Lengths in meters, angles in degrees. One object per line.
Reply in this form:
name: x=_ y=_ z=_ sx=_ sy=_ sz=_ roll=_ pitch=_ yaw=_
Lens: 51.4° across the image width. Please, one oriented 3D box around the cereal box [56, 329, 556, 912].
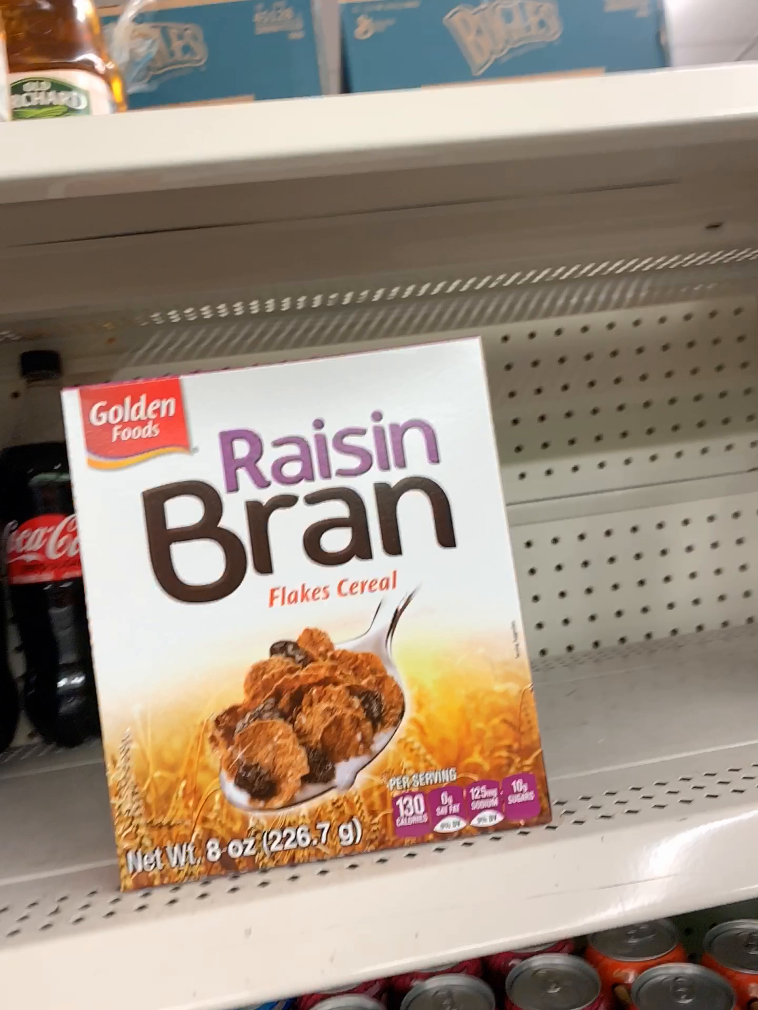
cereal box: x=-0.033 y=0.048 z=0.371 sx=0.190 sy=0.230 sz=0.050 roll=-8 pitch=-2 yaw=-2
